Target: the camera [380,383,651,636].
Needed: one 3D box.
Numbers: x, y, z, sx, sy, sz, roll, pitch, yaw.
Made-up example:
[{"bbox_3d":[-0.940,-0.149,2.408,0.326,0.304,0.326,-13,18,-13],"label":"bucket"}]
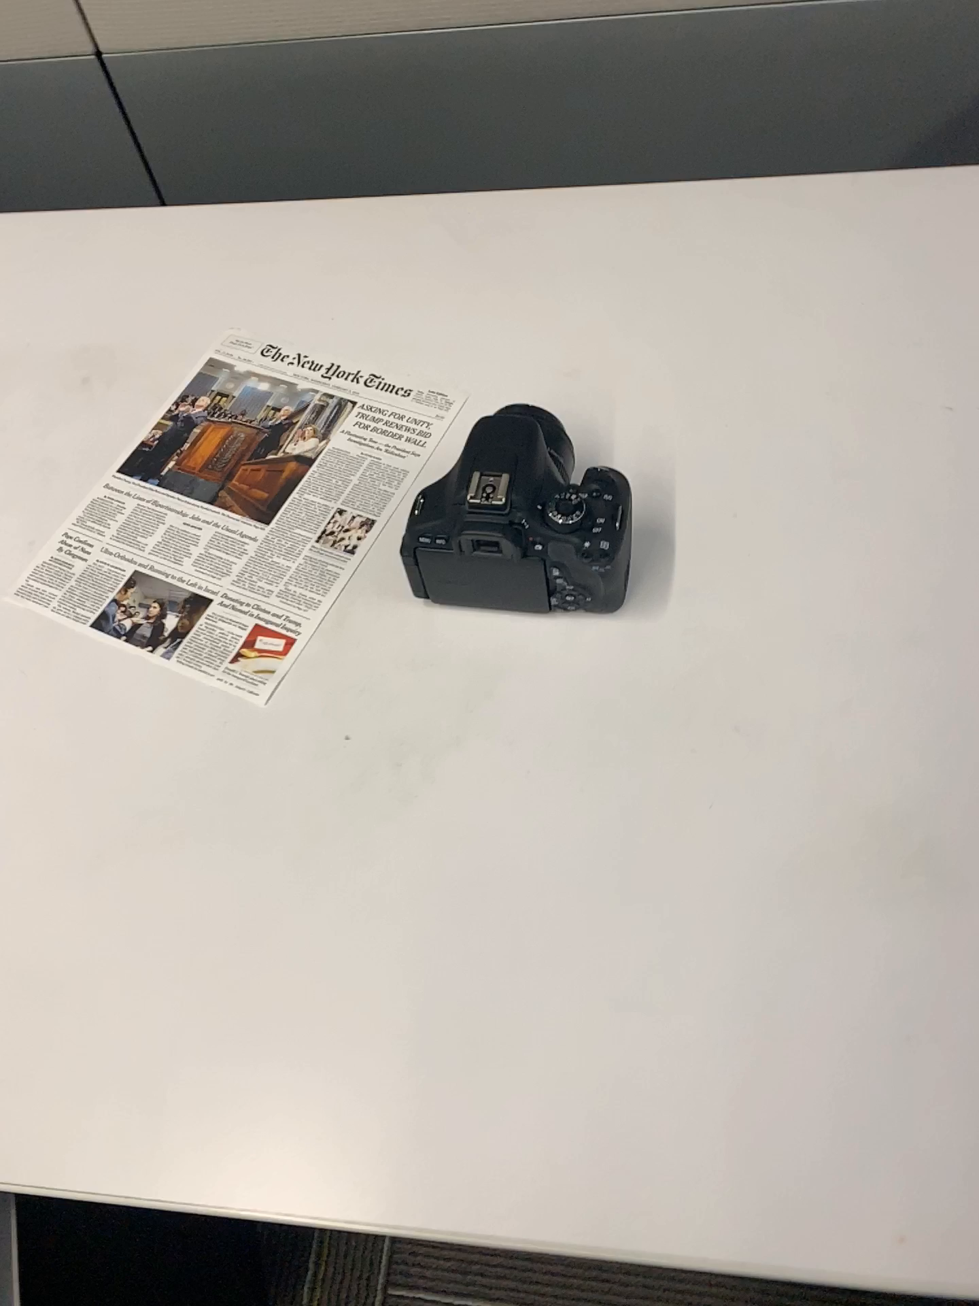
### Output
[{"bbox_3d":[0.022,-0.087,0.605,0.137,0.090,0.110,6,60,12],"label":"camera"}]
